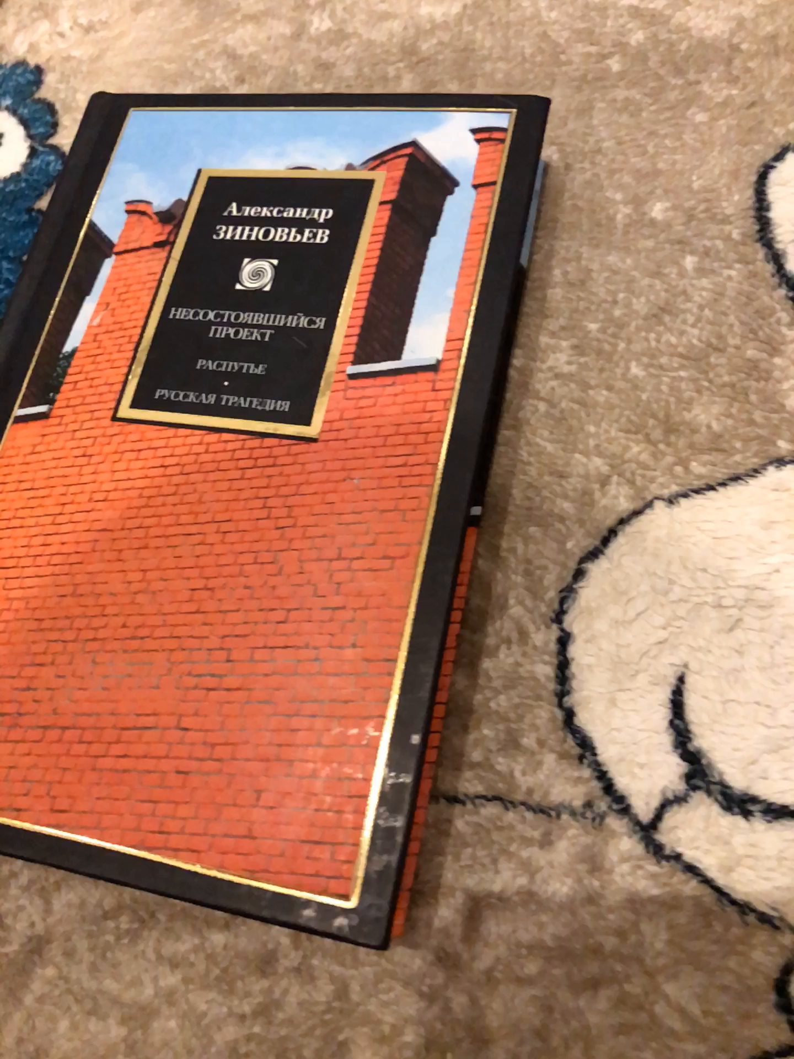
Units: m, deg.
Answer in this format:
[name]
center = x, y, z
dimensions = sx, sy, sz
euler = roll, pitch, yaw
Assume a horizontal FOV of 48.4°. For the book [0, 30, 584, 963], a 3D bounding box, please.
[book]
center = -0.041, -0.028, 0.217
dimensions = 0.140, 0.040, 0.211
euler = 8, 70, 15
